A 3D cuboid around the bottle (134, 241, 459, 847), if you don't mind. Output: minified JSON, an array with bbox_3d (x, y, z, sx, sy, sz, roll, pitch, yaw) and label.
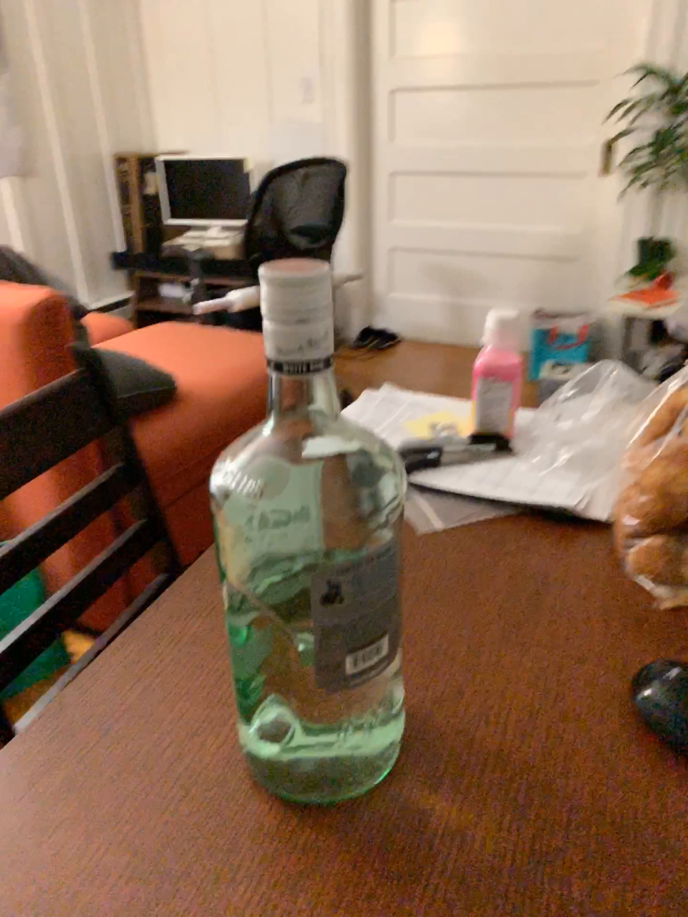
[{"bbox_3d":[-0.023,0.051,0.431,0.120,0.328,0.121,-1,26,1],"label":"bottle"}]
